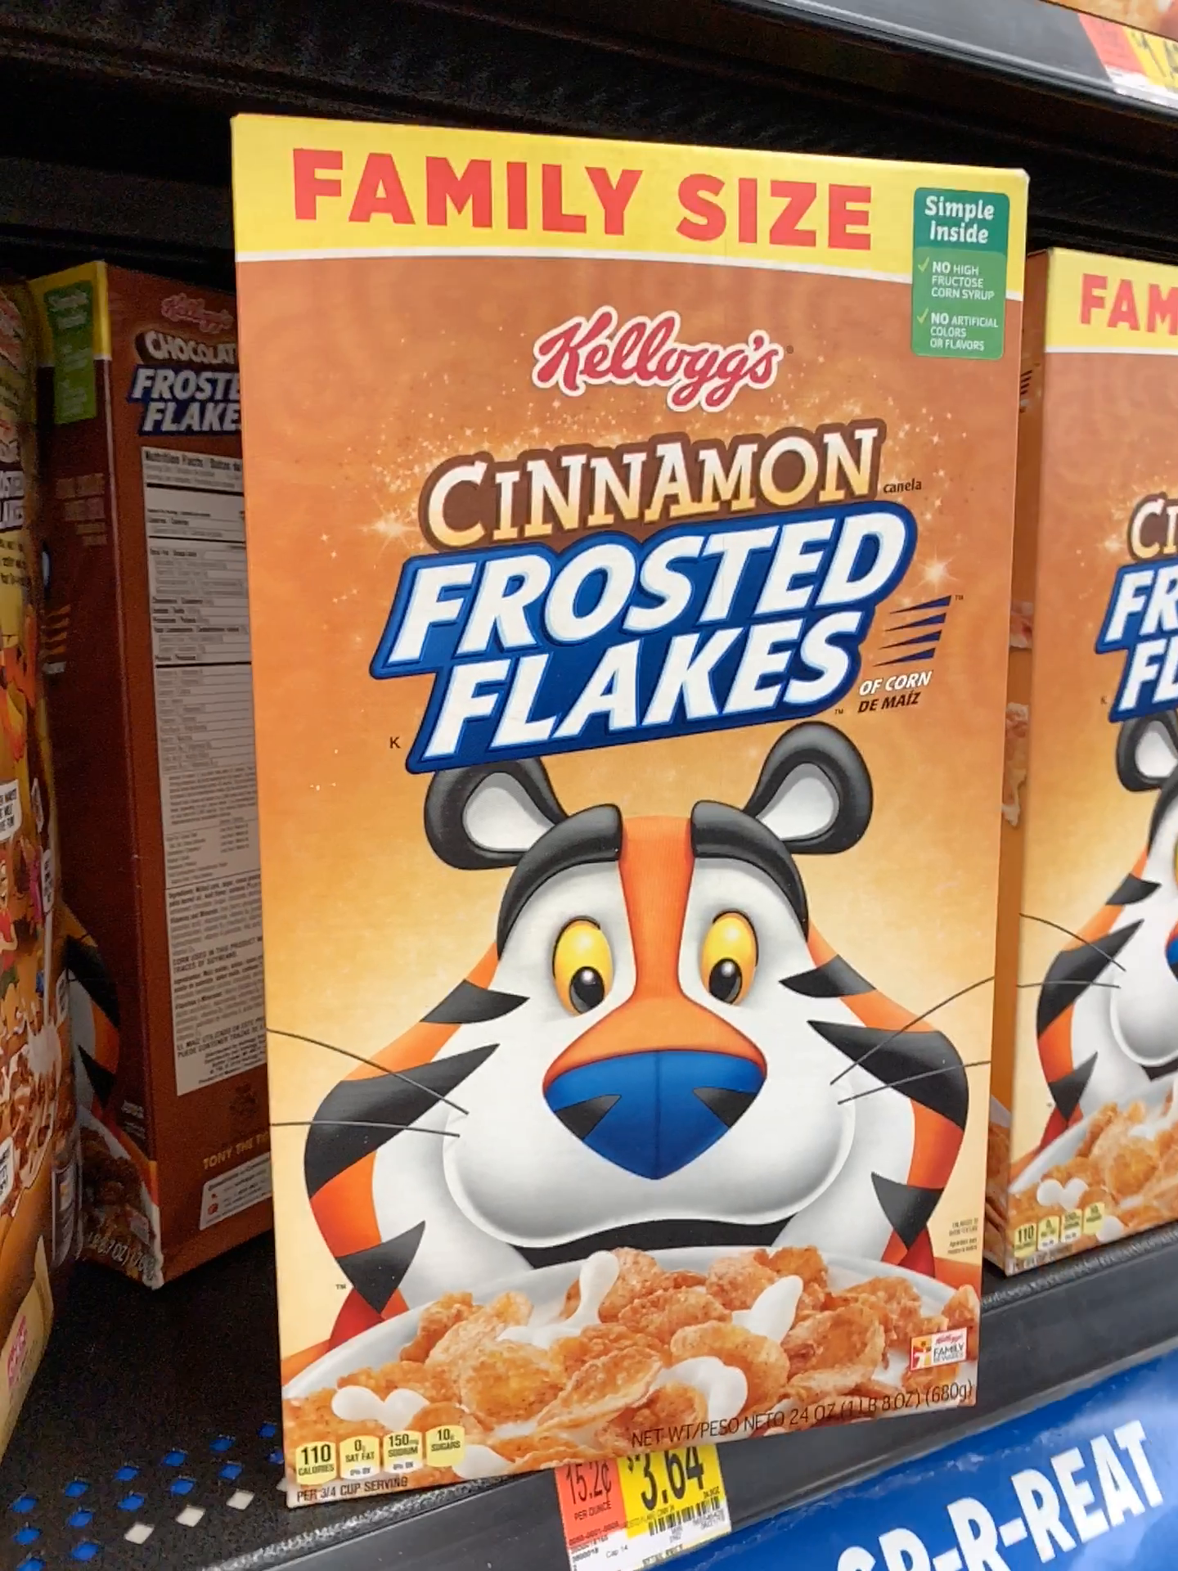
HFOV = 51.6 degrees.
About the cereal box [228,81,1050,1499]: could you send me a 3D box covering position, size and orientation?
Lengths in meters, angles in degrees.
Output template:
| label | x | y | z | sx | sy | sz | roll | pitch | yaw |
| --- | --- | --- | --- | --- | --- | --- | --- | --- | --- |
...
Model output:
| label | x | y | z | sx | sy | sz | roll | pitch | yaw |
| --- | --- | --- | --- | --- | --- | --- | --- | --- | --- |
| cereal box | 0.013 | 0.004 | 0.346 | 0.200 | 0.340 | 0.080 | -2 | 6 | -10 |
